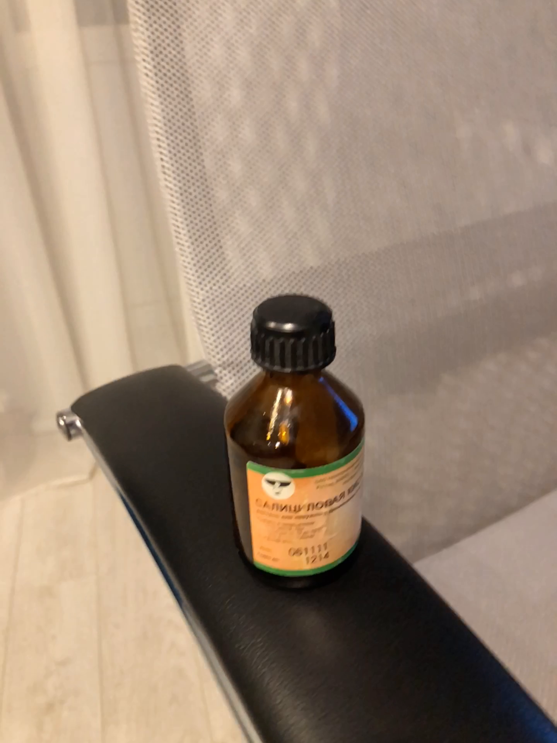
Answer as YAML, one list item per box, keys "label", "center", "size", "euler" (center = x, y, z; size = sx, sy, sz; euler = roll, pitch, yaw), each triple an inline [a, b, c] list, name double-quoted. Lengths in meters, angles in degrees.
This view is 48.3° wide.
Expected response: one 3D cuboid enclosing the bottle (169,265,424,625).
- label: "bottle"
  center: [0.006, 0.020, 0.189]
  size: [0.050, 0.083, 0.050]
  euler: [-3, 29, 2]
